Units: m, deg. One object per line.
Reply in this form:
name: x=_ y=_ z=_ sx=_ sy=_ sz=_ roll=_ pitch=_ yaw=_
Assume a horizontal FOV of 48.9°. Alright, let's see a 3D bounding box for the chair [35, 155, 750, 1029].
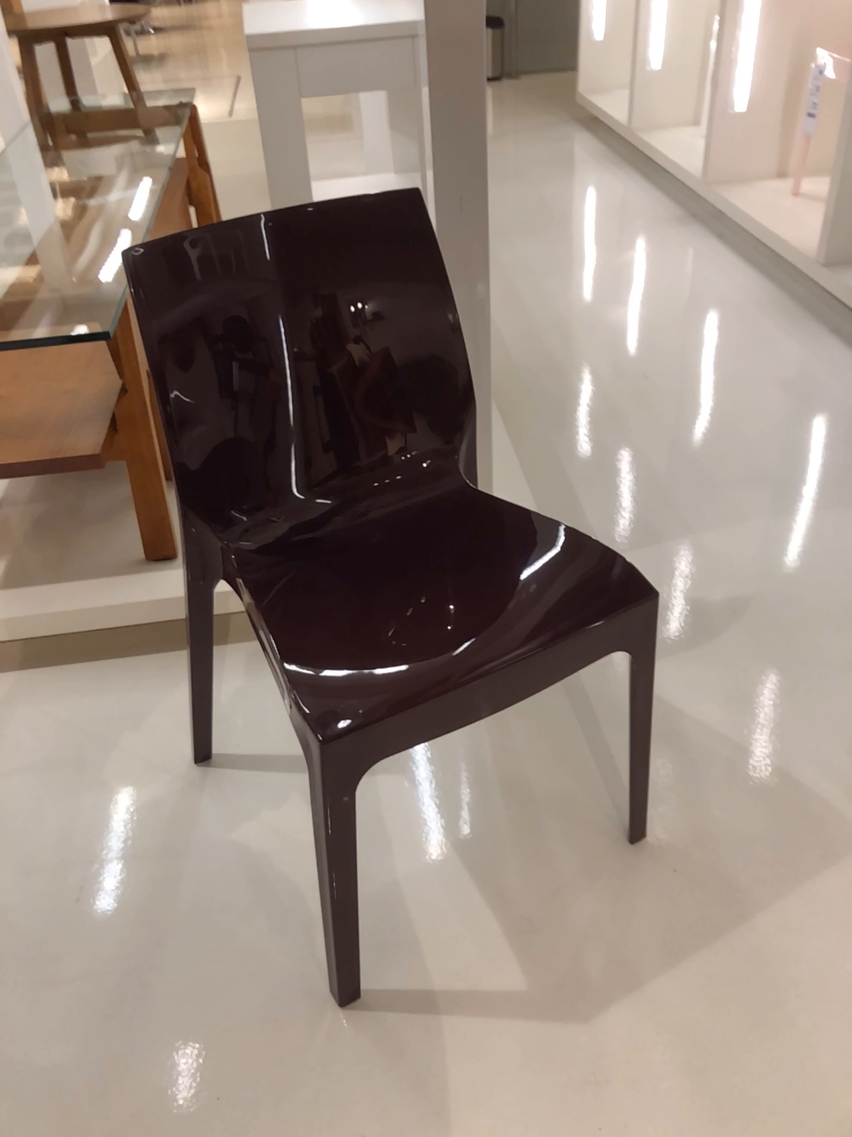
chair: x=-0.050 y=0.000 z=1.197 sx=0.531 sy=0.814 sz=0.563 roll=-21 pitch=39 yaw=-22
